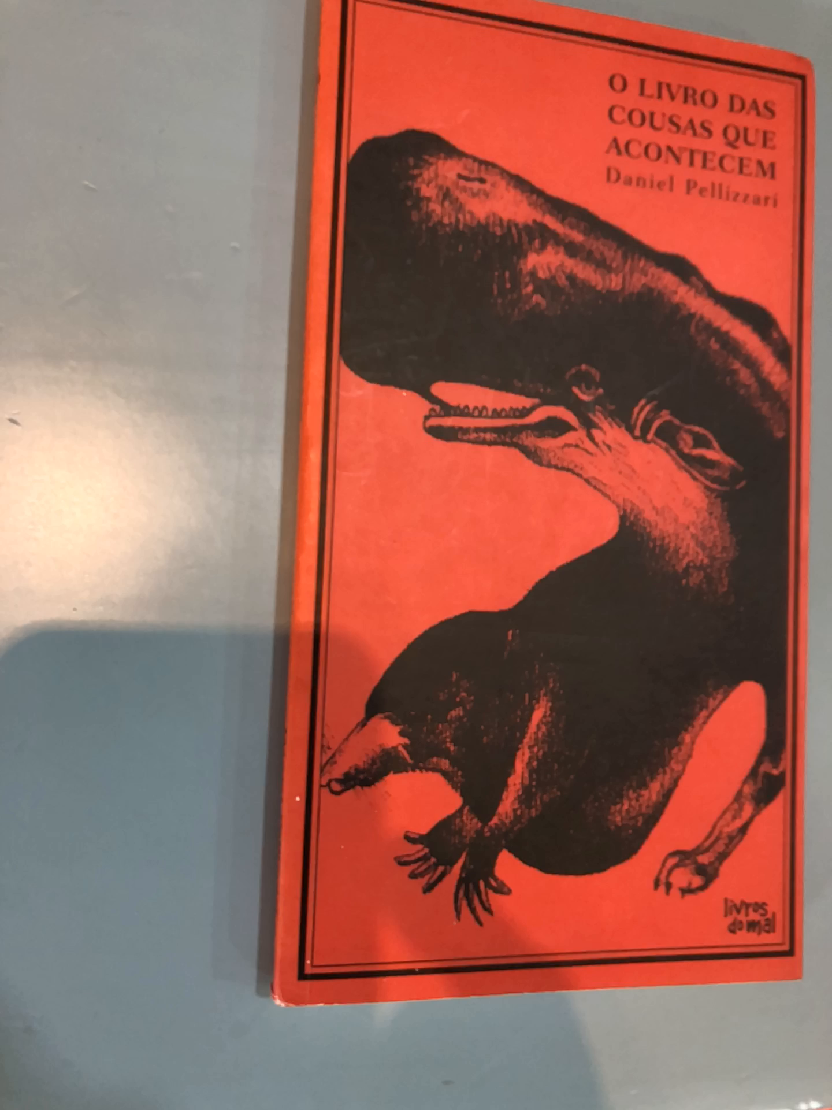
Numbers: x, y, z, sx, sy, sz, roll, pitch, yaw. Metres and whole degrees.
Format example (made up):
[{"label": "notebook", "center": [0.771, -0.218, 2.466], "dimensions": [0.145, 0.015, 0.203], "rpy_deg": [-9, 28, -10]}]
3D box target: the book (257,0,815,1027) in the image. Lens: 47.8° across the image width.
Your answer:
[{"label": "book", "center": [0.028, -0.013, 0.193], "dimensions": [0.110, 0.016, 0.200], "rpy_deg": [2, 87, -12]}]
